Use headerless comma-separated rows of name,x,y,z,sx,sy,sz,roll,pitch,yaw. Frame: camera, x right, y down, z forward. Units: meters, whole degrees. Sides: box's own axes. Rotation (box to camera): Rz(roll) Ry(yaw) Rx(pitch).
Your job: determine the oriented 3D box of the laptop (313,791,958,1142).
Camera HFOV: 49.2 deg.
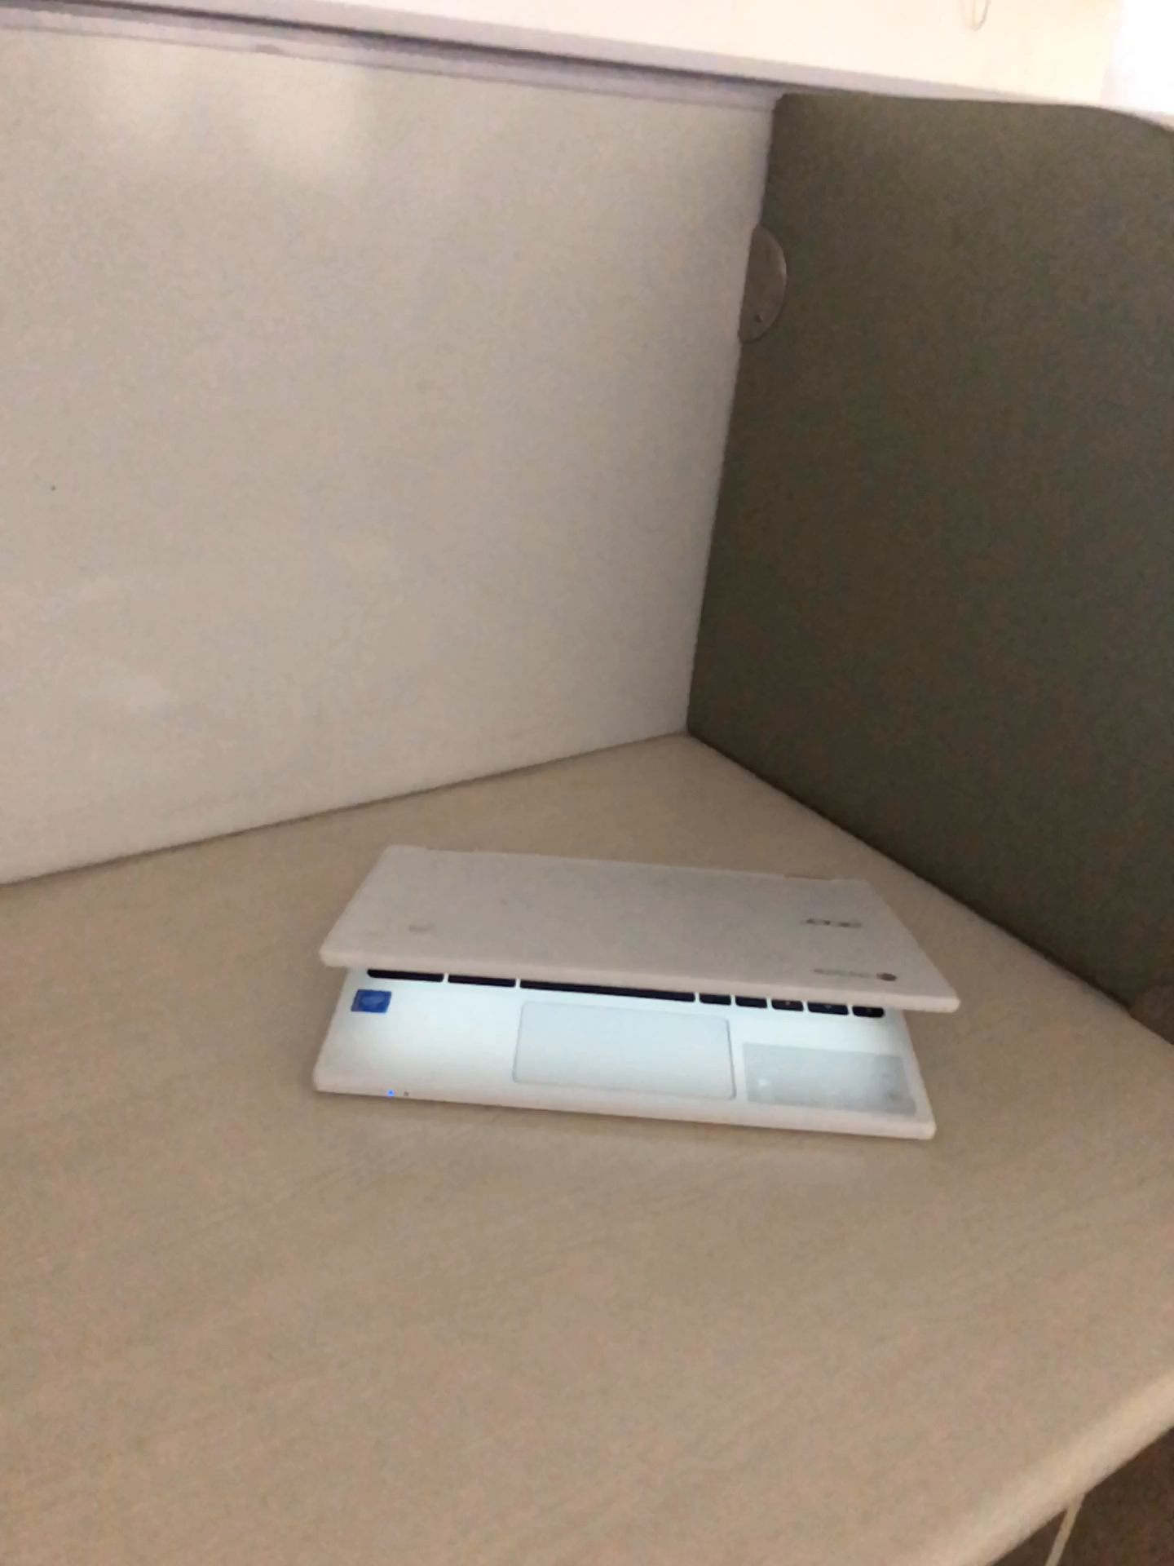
laptop,0.022,0.084,0.655,0.282,0.055,0.192,5,27,0
